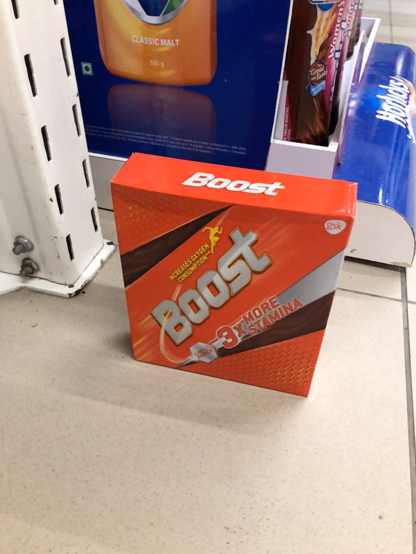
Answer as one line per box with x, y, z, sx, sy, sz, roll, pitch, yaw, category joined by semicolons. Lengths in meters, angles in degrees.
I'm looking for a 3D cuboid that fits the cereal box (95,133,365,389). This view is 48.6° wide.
0.013;-0.004;0.346;0.160;0.179;0.050;8;40;8;cereal box
